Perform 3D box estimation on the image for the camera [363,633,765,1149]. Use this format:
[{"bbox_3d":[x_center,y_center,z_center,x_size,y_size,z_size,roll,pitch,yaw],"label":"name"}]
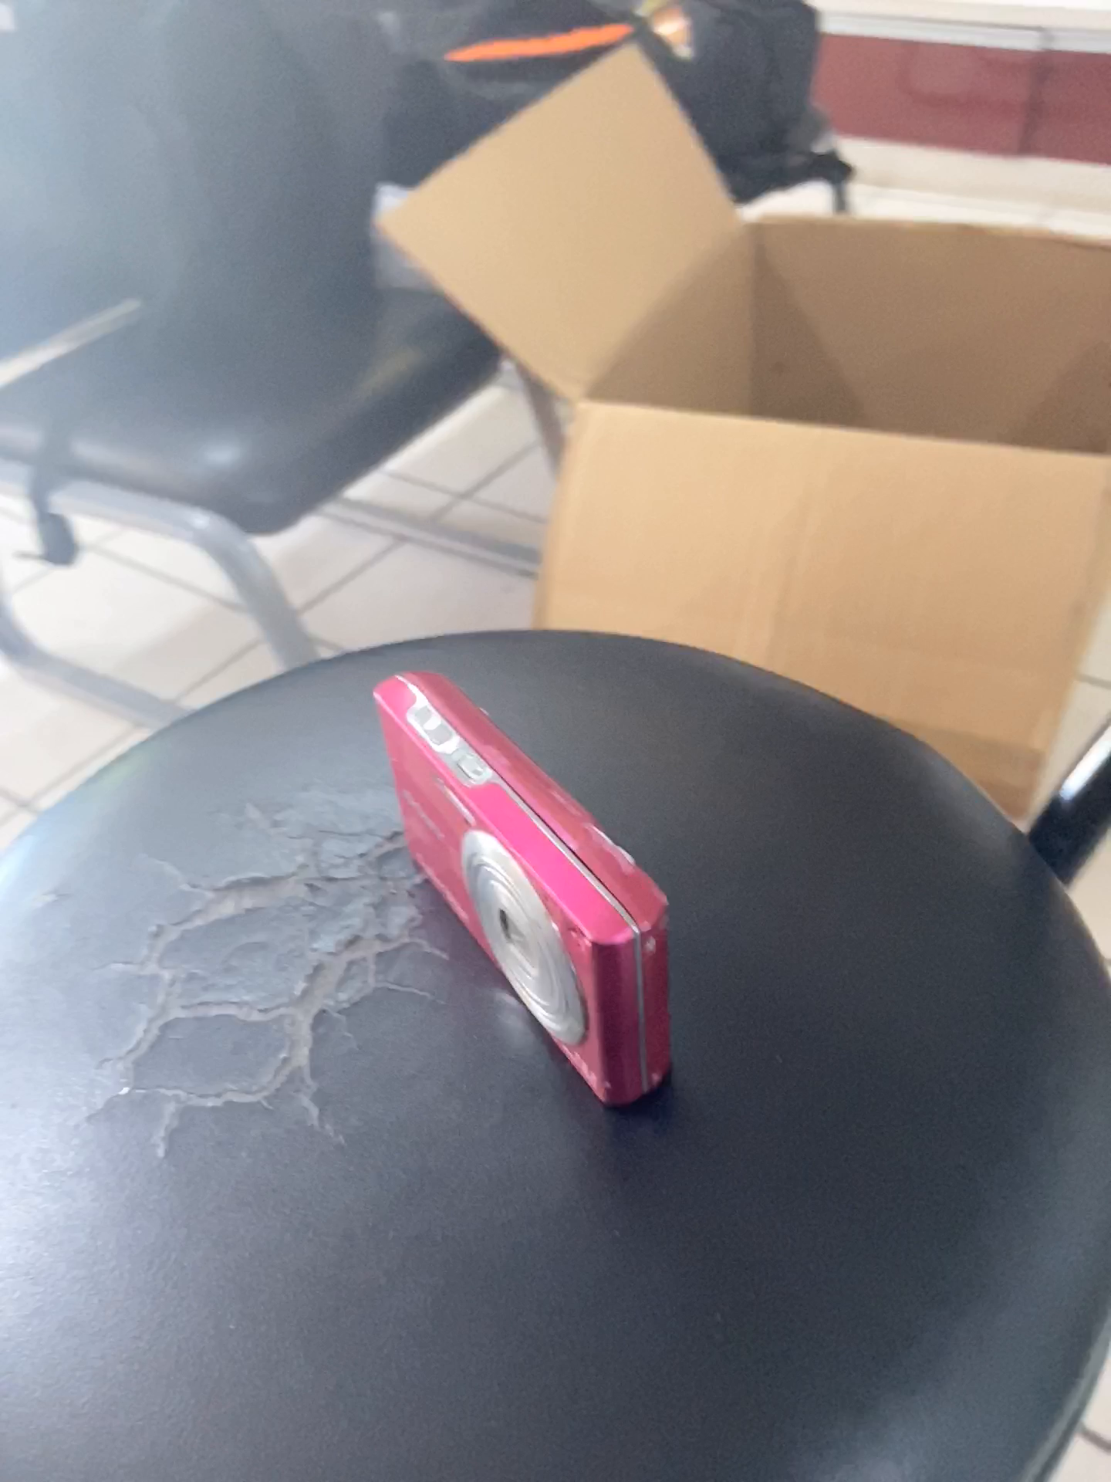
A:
[{"bbox_3d":[-0.001,0.025,0.240,0.030,0.050,0.100,-24,42,-21],"label":"camera"}]
